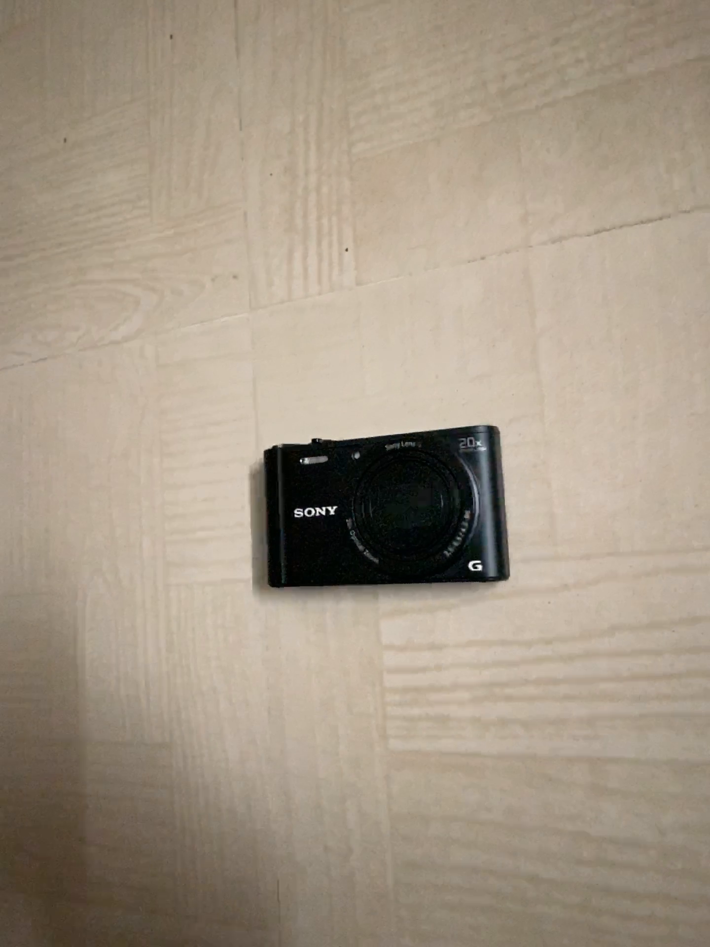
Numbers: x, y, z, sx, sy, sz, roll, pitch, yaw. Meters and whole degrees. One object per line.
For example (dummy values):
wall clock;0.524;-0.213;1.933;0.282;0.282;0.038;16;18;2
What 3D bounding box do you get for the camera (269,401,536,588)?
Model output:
camera;0.016;0.010;0.271;0.093;0.025;0.060;-5;84;23
